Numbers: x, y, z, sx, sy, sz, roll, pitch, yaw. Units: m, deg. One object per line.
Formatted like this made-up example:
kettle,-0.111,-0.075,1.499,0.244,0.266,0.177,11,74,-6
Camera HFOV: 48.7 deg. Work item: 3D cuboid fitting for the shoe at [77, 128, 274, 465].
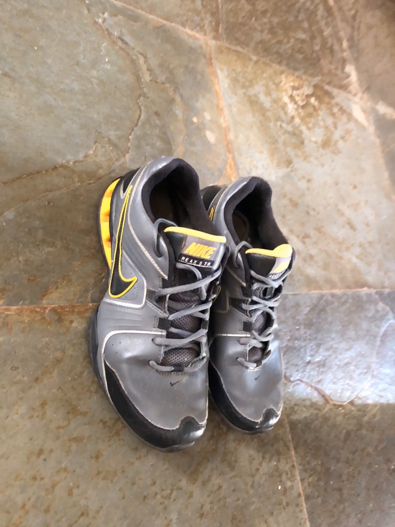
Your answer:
shoe,-0.028,0.027,0.370,0.101,0.099,0.240,3,70,-35

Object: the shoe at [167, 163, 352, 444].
shoe,0.053,0.040,0.433,0.101,0.099,0.240,3,70,-35
